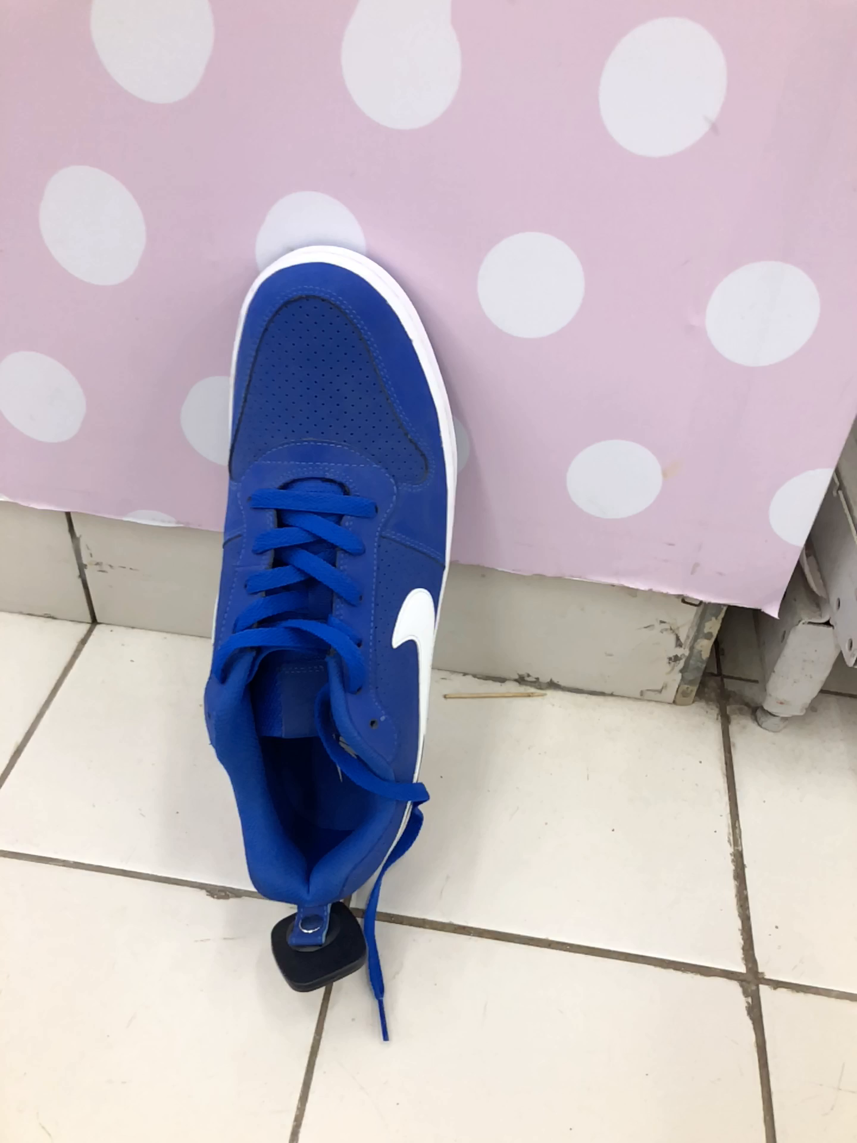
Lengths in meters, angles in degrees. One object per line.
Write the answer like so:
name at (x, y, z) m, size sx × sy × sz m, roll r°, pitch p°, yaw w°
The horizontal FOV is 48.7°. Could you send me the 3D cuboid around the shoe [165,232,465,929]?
shoe at (-0.047, 0.004, 0.430) m, size 0.110 × 0.289 × 0.080 m, roll 3°, pitch 13°, yaw 6°
